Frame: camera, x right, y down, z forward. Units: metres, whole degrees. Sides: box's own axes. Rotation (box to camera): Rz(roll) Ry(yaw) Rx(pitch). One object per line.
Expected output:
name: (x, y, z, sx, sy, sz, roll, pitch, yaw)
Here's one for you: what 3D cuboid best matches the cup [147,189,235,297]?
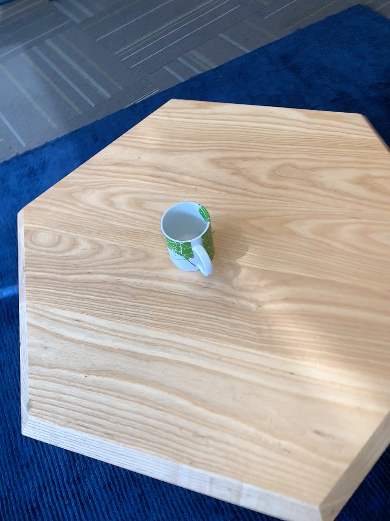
cup: (-0.005, -0.028, 0.648, 0.090, 0.090, 0.120, -25, 59, -7)
